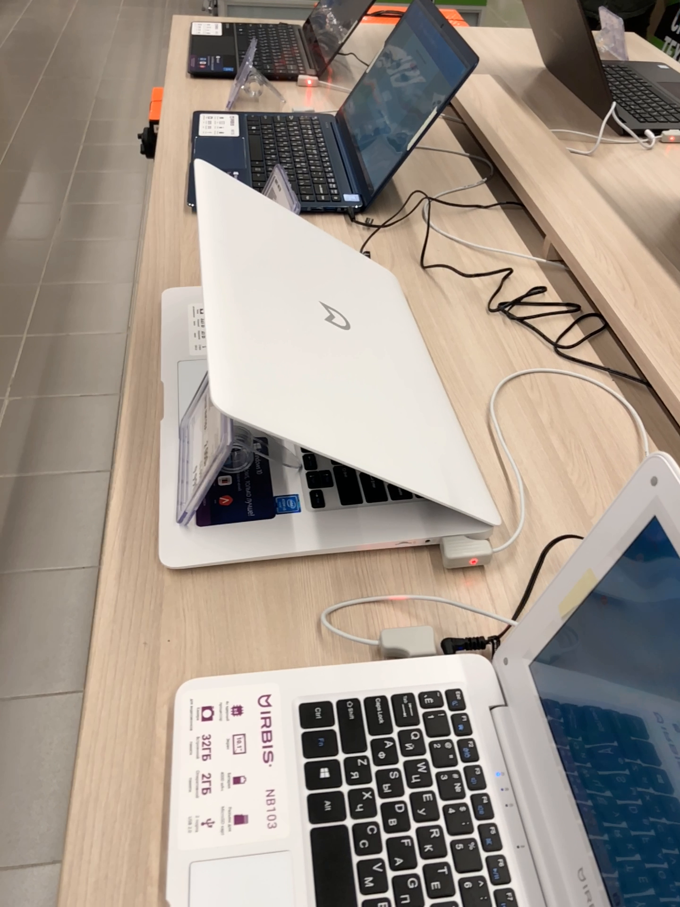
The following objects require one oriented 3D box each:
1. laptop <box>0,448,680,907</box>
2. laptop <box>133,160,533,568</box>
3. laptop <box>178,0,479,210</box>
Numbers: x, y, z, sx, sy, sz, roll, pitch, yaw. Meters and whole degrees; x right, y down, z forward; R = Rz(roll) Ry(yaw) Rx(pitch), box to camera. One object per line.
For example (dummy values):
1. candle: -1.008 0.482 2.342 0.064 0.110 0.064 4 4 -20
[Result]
1. laptop: 0.043 0.148 0.274 0.230 0.168 0.264 -2 41 -6
2. laptop: -0.031 -0.097 0.579 0.223 0.115 0.352 -5 43 -7
3. laptop: -0.031 -0.458 0.948 0.318 0.162 0.311 -3 43 -8
